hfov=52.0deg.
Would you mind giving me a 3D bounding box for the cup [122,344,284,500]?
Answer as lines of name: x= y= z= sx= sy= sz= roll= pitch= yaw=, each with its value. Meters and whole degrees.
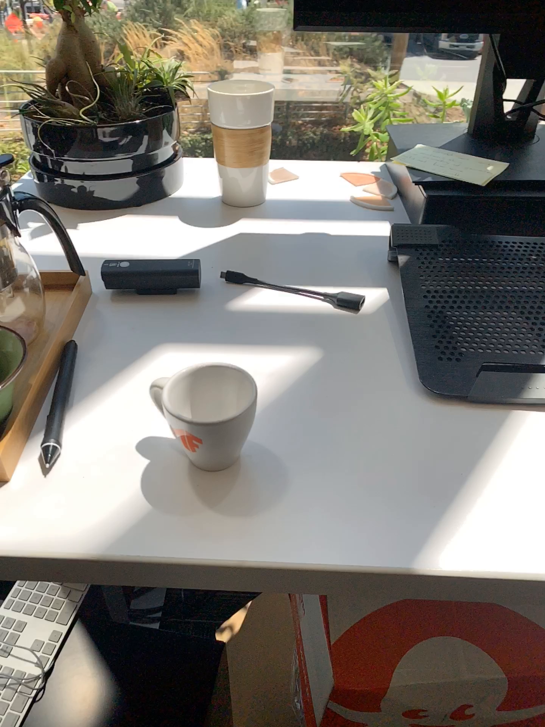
cup: x=-0.046 y=0.039 z=0.394 sx=0.090 sy=0.060 sz=0.060 roll=18 pitch=40 yaw=21
